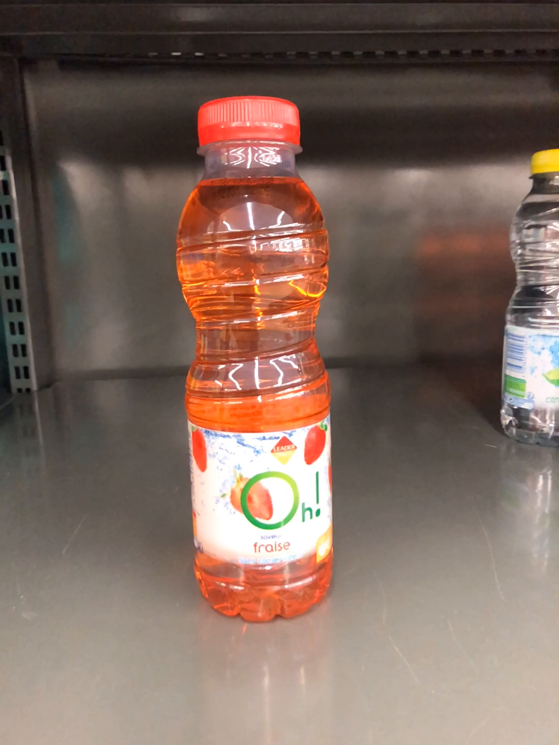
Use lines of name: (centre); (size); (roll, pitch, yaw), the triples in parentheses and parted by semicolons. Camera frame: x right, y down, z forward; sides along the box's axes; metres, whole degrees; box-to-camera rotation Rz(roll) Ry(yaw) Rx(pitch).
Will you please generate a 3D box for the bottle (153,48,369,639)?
bottle: (-0.006, -0.009, 0.251); (0.070, 0.209, 0.060); (-3, 11, -7)
